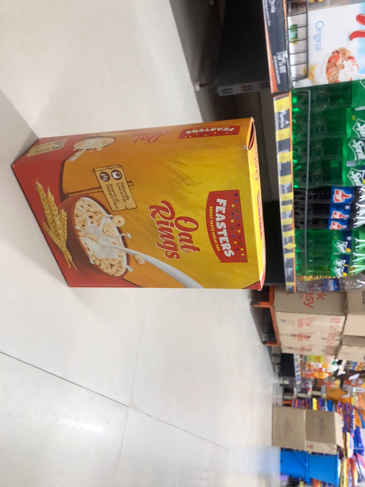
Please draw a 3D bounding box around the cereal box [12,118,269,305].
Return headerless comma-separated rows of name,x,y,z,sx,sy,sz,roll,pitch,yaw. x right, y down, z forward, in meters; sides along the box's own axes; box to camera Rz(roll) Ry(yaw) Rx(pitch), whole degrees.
cereal box,-0.028,-0.022,0.419,0.070,0.219,0.170,-73,157,-51
